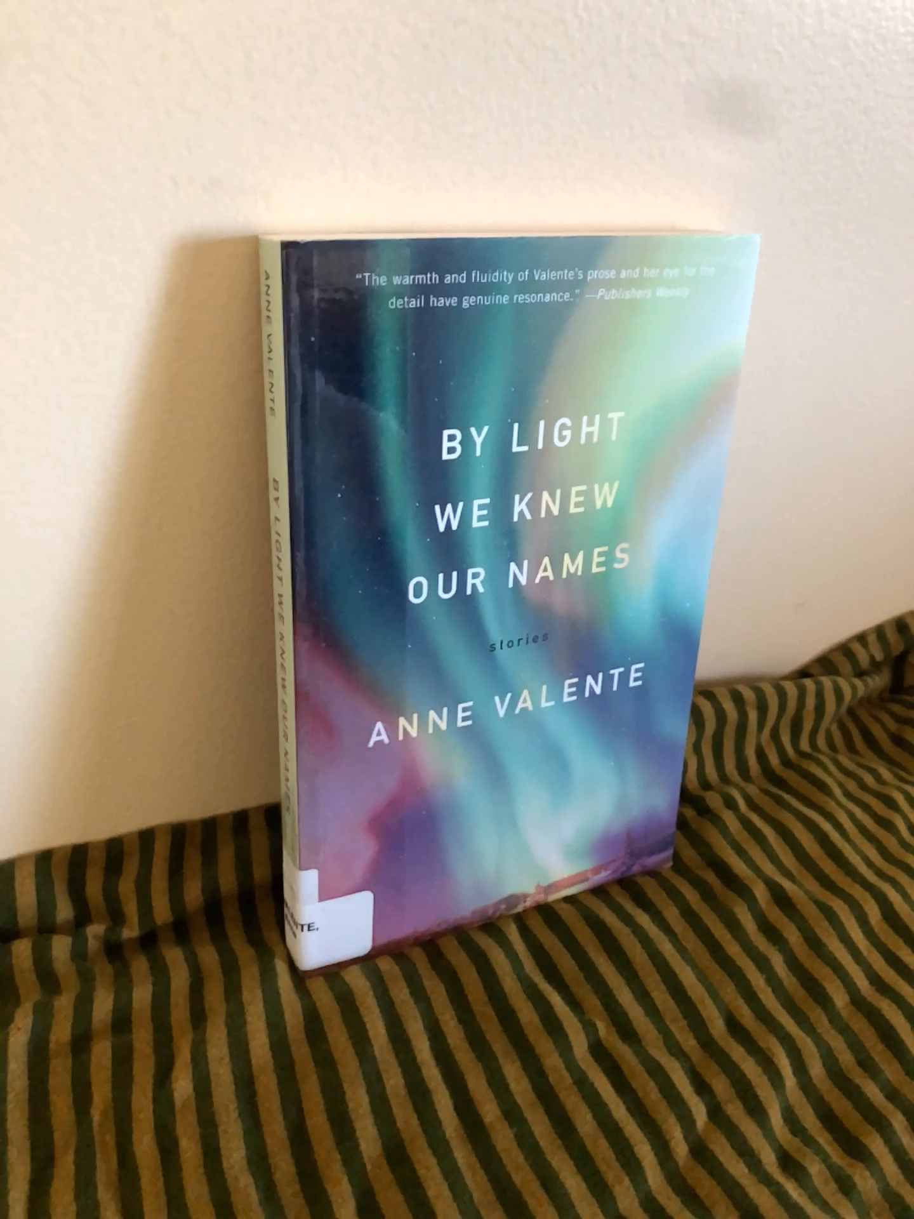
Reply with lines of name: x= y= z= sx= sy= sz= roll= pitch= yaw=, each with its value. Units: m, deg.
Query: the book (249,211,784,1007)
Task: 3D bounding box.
book: x=0.011 y=0.006 z=0.297 sx=0.142 sy=0.223 sz=0.020 roll=-10 pitch=31 yaw=-28
